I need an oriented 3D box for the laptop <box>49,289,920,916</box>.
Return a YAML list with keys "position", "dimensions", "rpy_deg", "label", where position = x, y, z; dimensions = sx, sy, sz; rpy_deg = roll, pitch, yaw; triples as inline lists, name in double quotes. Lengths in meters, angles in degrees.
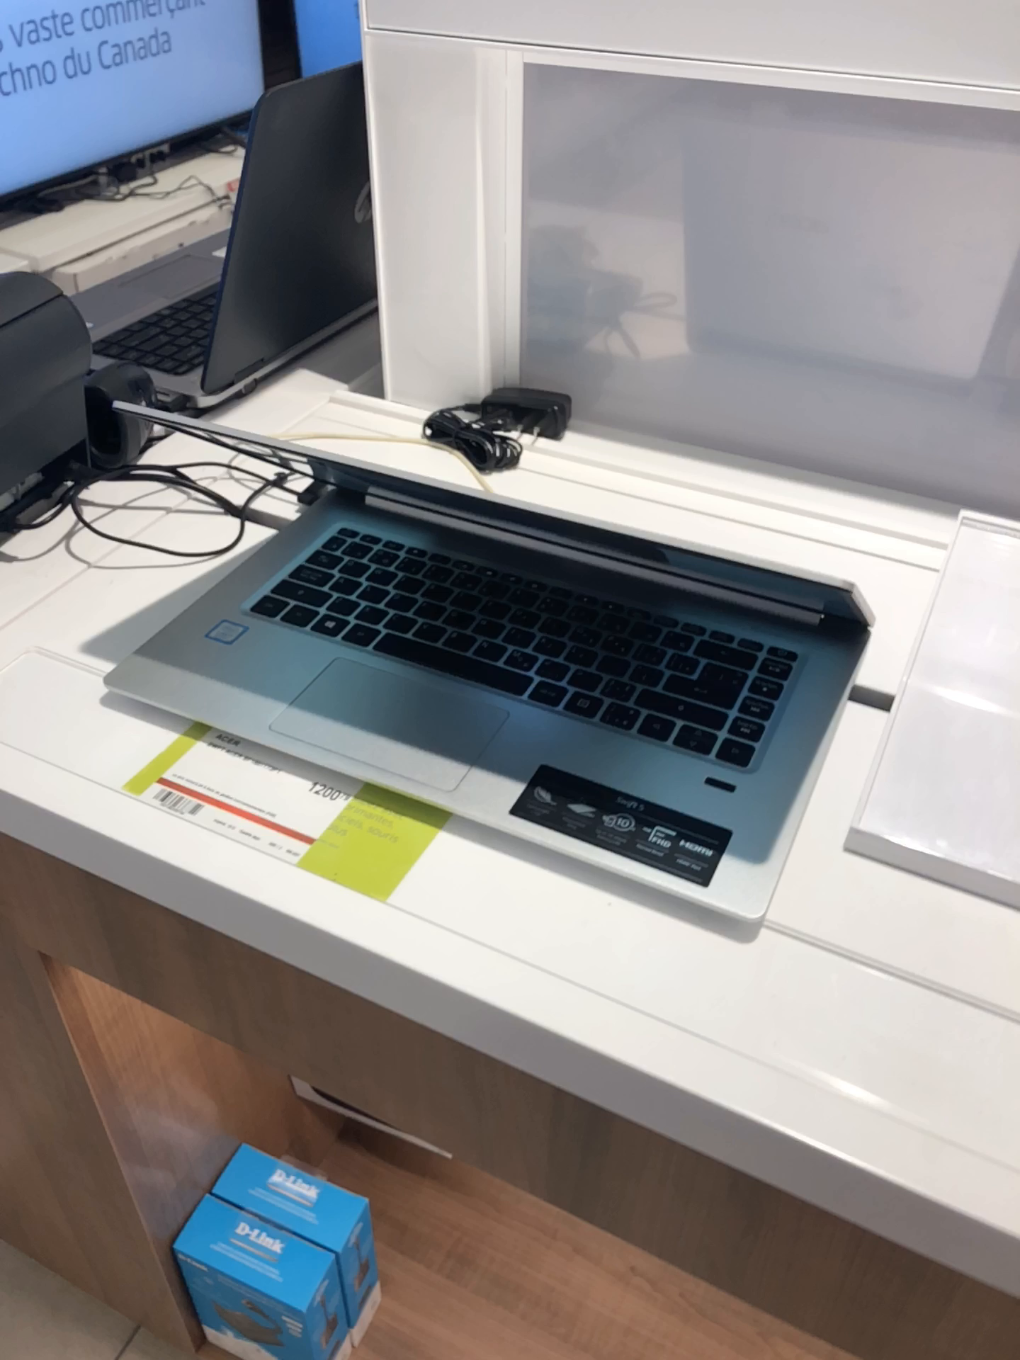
- position: [-0.006, -0.064, 0.568]
  dimensions: [0.347, 0.132, 0.218]
  rpy_deg: [17, 42, 19]
  label: "laptop"
